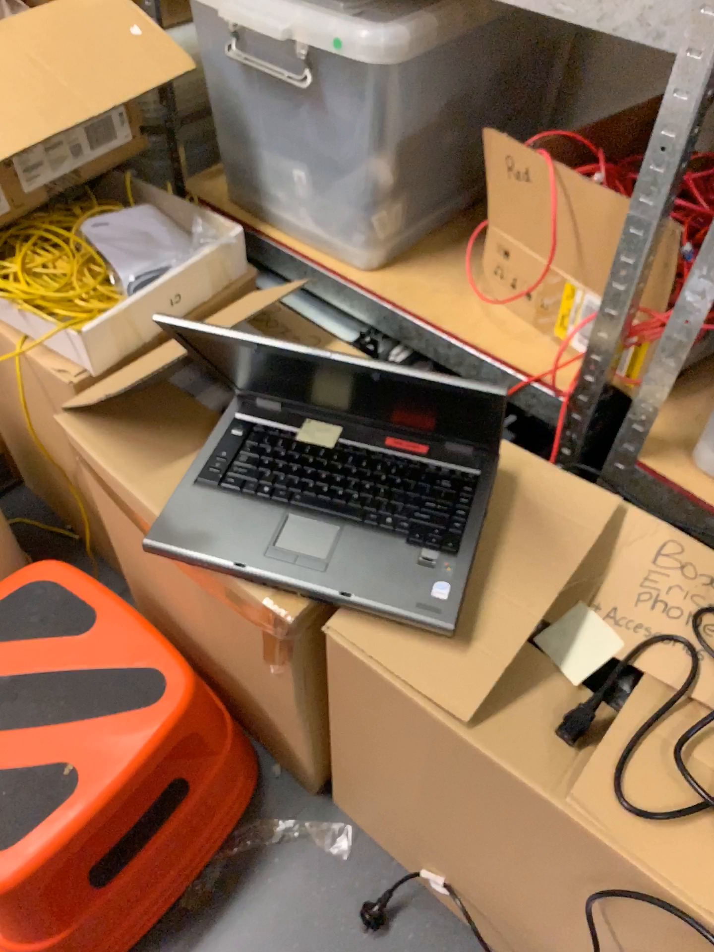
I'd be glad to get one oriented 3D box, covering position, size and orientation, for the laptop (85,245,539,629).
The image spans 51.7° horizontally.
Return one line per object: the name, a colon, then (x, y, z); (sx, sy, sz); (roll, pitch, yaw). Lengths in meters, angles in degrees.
laptop: (-0.031, -0.051, 0.783); (0.360, 0.238, 0.263); (13, 49, 12)
